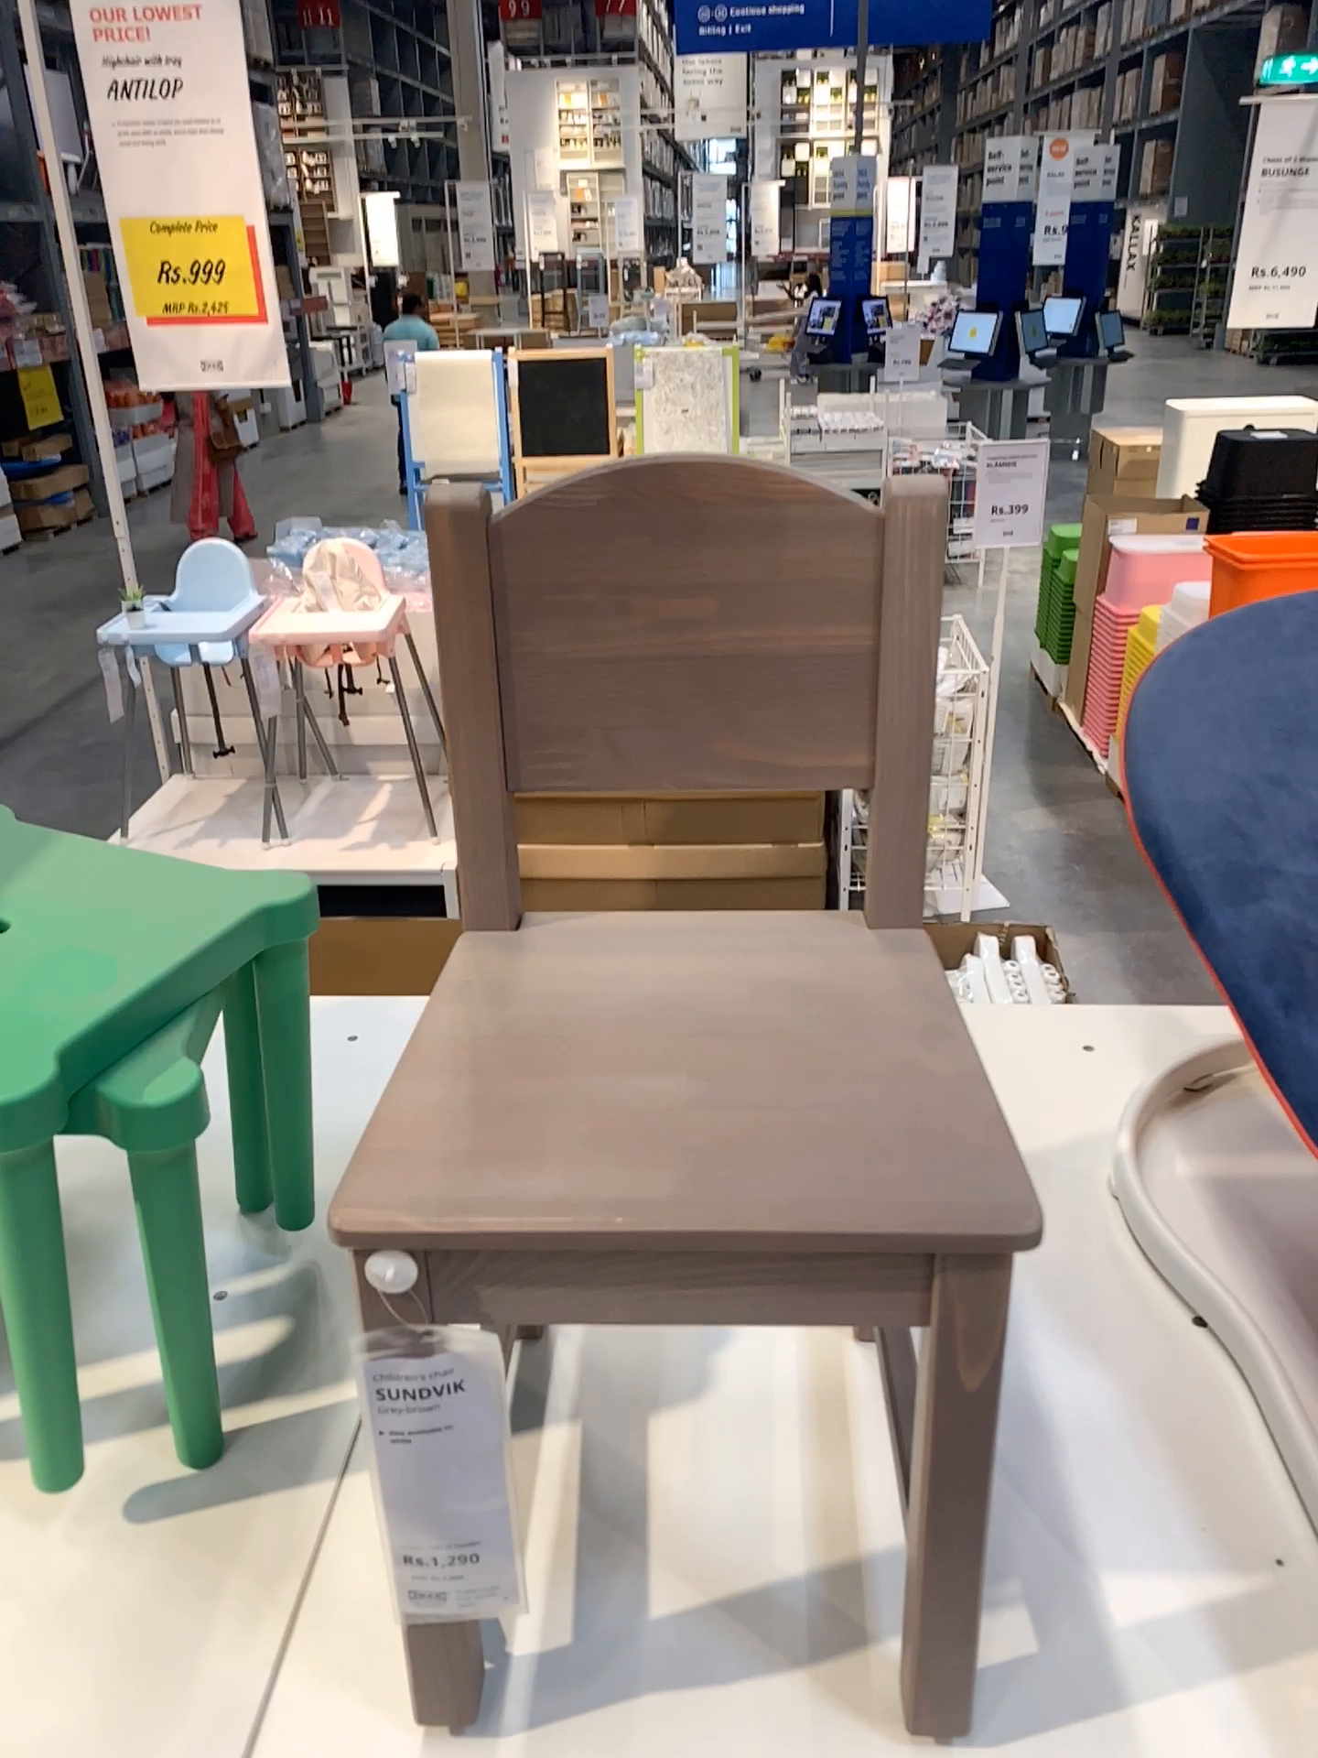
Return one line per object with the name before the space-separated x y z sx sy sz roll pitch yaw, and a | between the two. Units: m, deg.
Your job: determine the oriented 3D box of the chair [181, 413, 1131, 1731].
chair | 0.011 0.074 0.634 0.270 0.518 0.321 0 25 3
